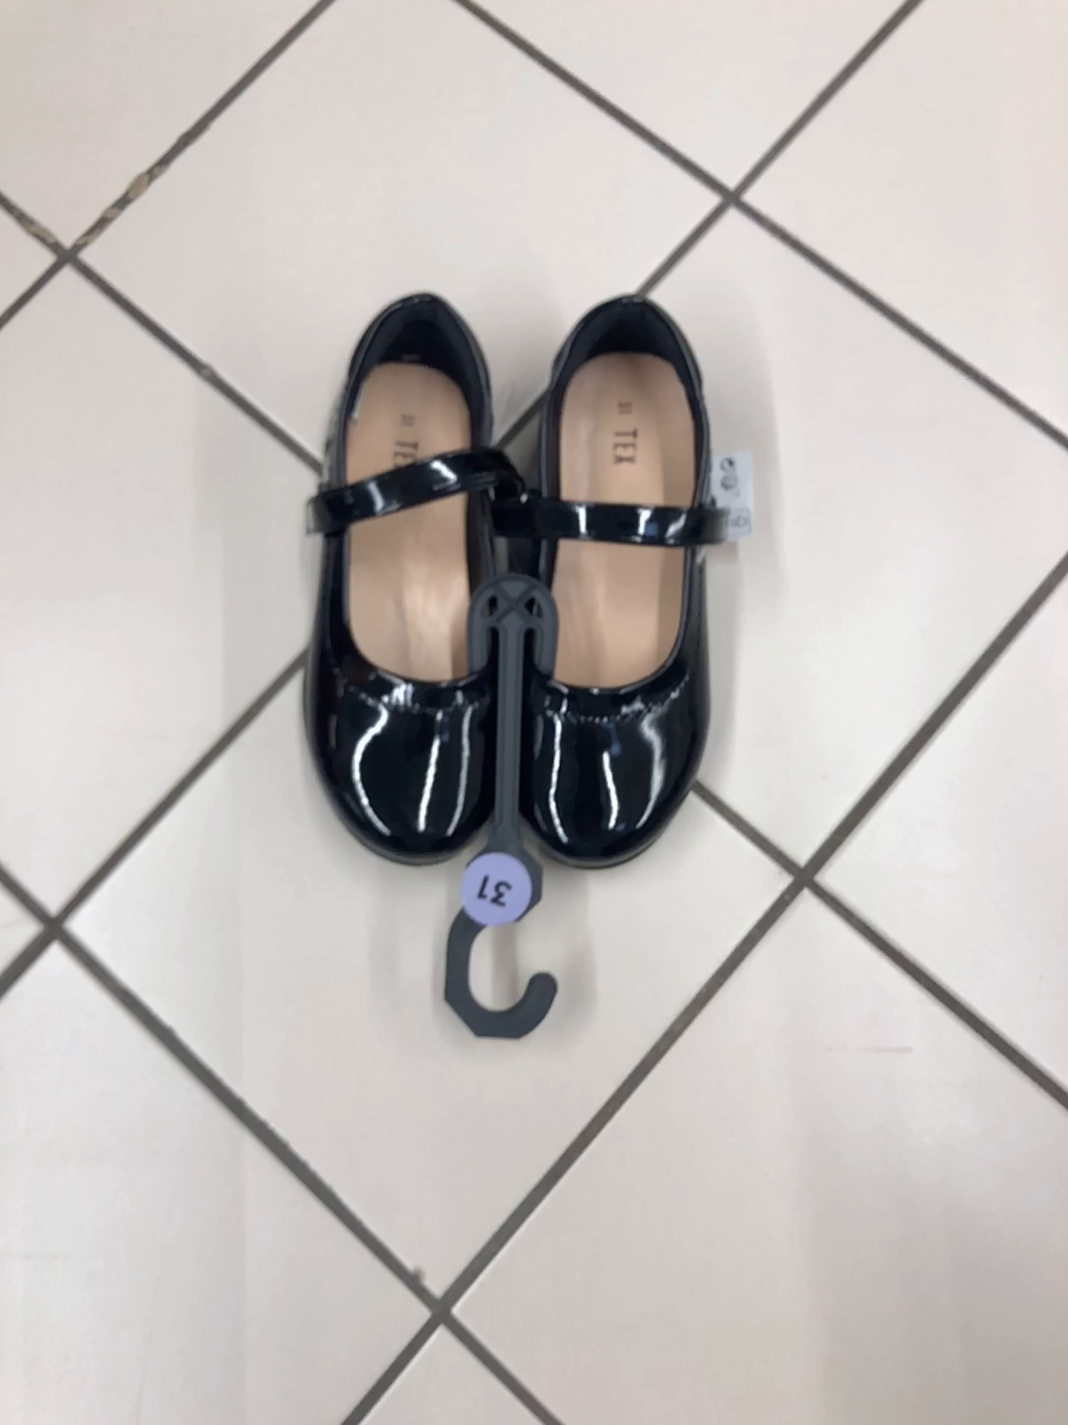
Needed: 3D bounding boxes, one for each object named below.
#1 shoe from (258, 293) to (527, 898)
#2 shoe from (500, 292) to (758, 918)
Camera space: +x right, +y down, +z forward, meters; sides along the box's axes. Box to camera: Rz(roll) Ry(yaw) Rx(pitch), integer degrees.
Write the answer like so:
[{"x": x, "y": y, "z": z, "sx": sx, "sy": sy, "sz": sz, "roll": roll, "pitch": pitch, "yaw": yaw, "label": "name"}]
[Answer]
[{"x": -0.045, "y": -0.040, "z": 0.419, "sx": 0.079, "sy": 0.056, "sz": 0.204, "roll": 0, "pitch": 78, "yaw": 3, "label": "shoe"}, {"x": 0.035, "y": -0.037, "z": 0.416, "sx": 0.079, "sy": 0.052, "sz": 0.210, "roll": 2, "pitch": 78, "yaw": 4, "label": "shoe"}]
